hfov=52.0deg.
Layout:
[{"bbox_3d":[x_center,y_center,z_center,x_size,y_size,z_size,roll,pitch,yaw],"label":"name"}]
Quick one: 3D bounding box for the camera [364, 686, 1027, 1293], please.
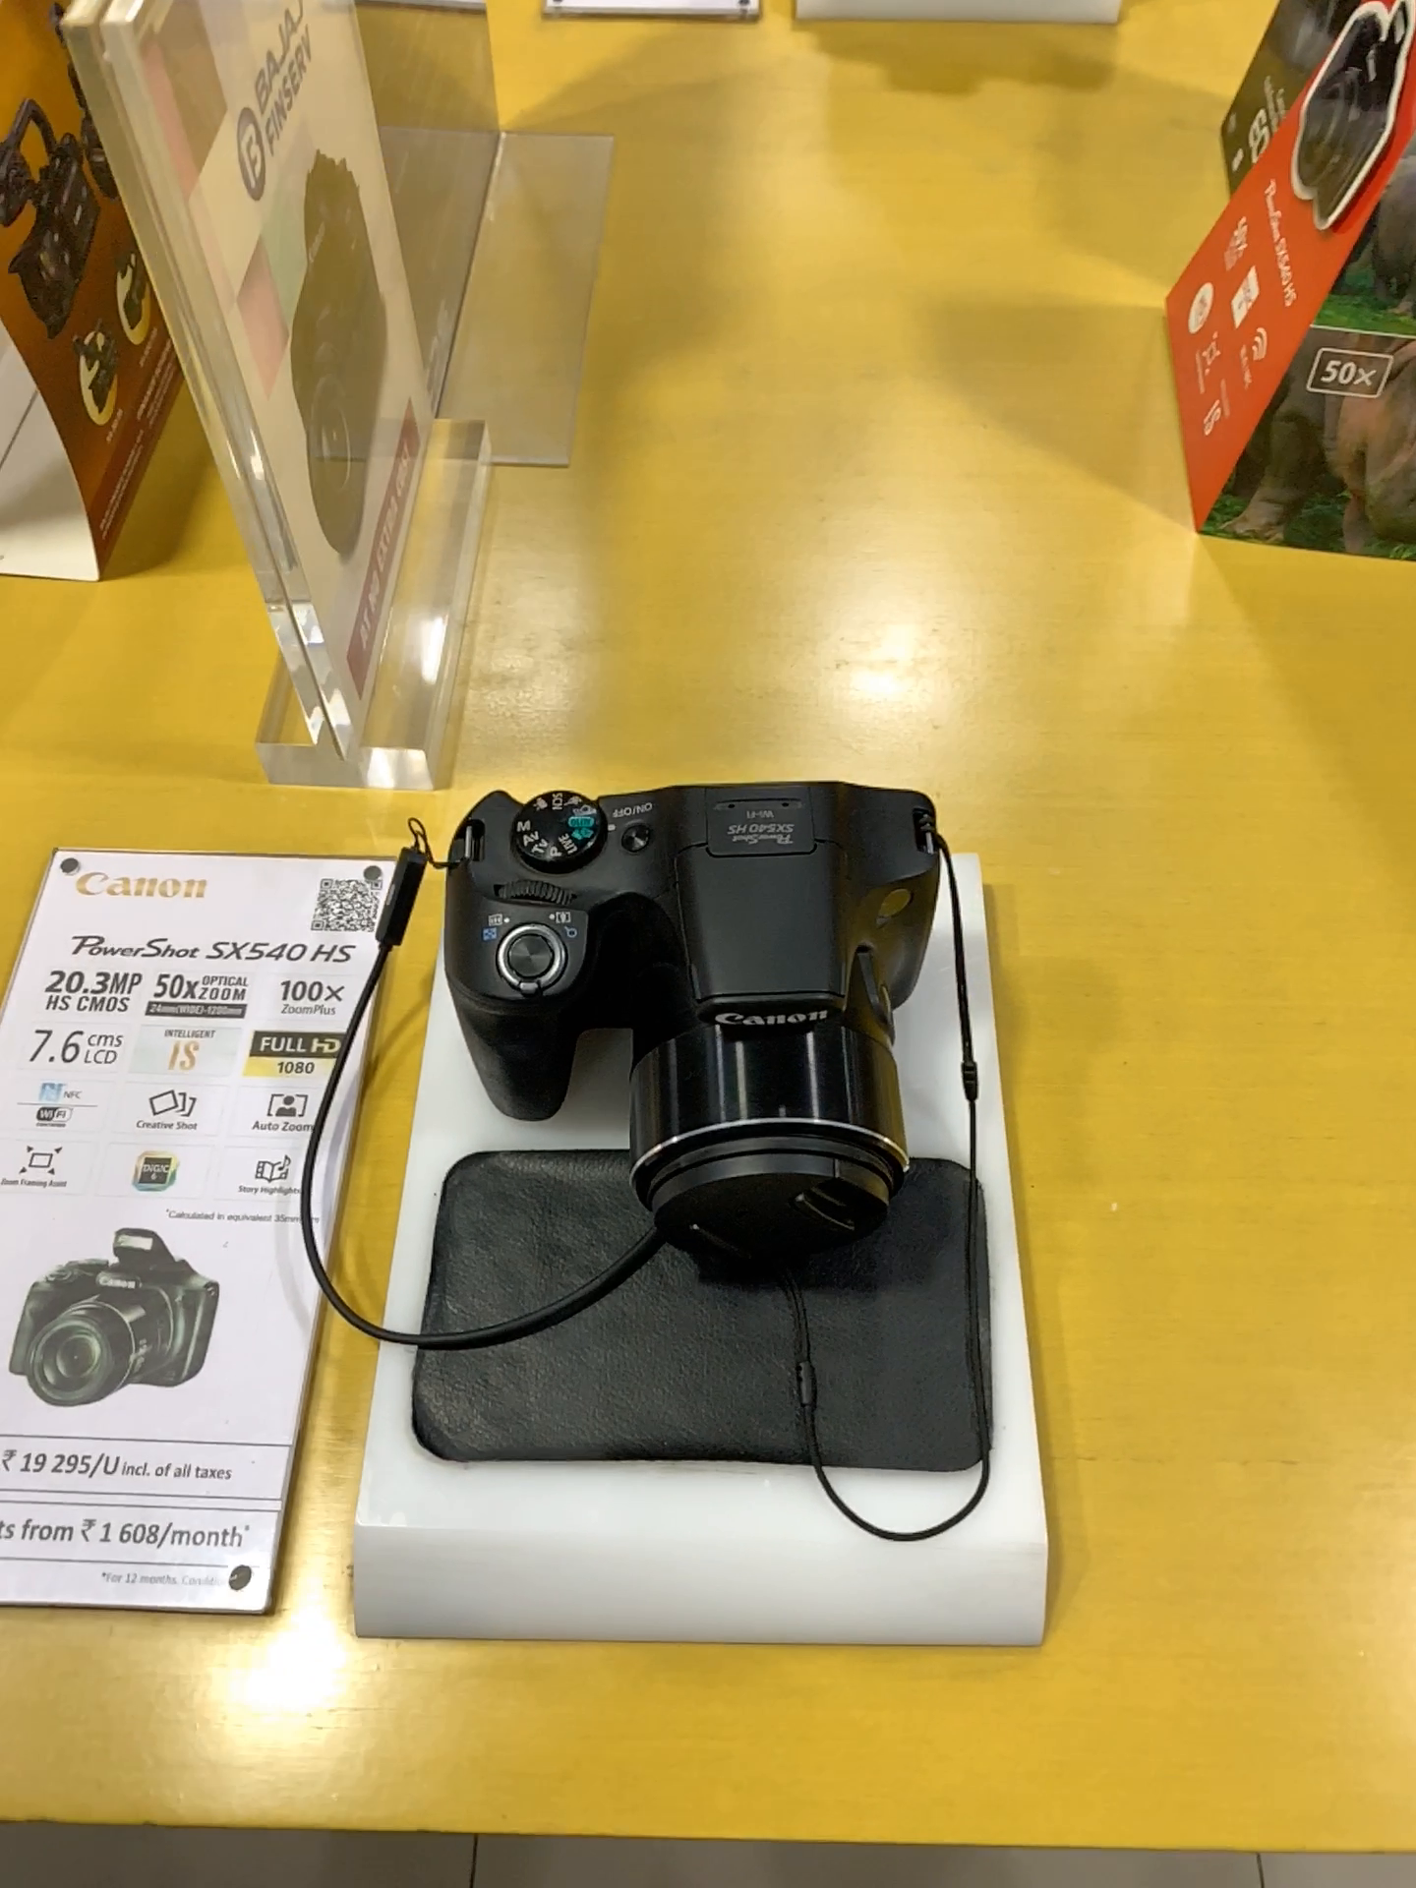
[{"bbox_3d":[-0.004,0.010,0.321,0.120,0.070,0.110,-2,58,-1],"label":"camera"}]
